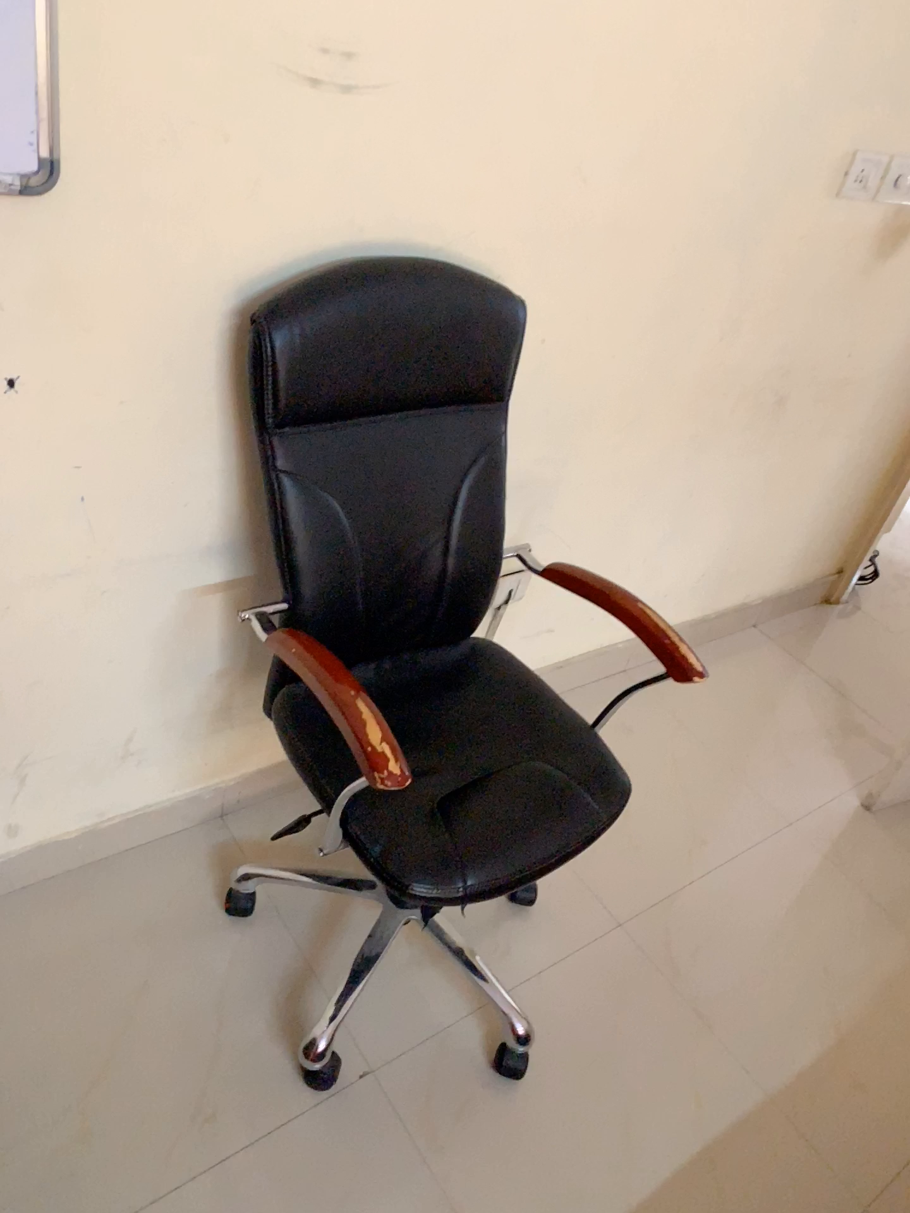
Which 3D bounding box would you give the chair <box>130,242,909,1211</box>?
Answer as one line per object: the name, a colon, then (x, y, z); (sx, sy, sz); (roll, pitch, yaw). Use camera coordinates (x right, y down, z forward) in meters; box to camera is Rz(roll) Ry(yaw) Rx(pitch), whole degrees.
chair: (-0.003, 0.131, 1.421); (0.703, 1.081, 0.754); (-14, 44, -35)
